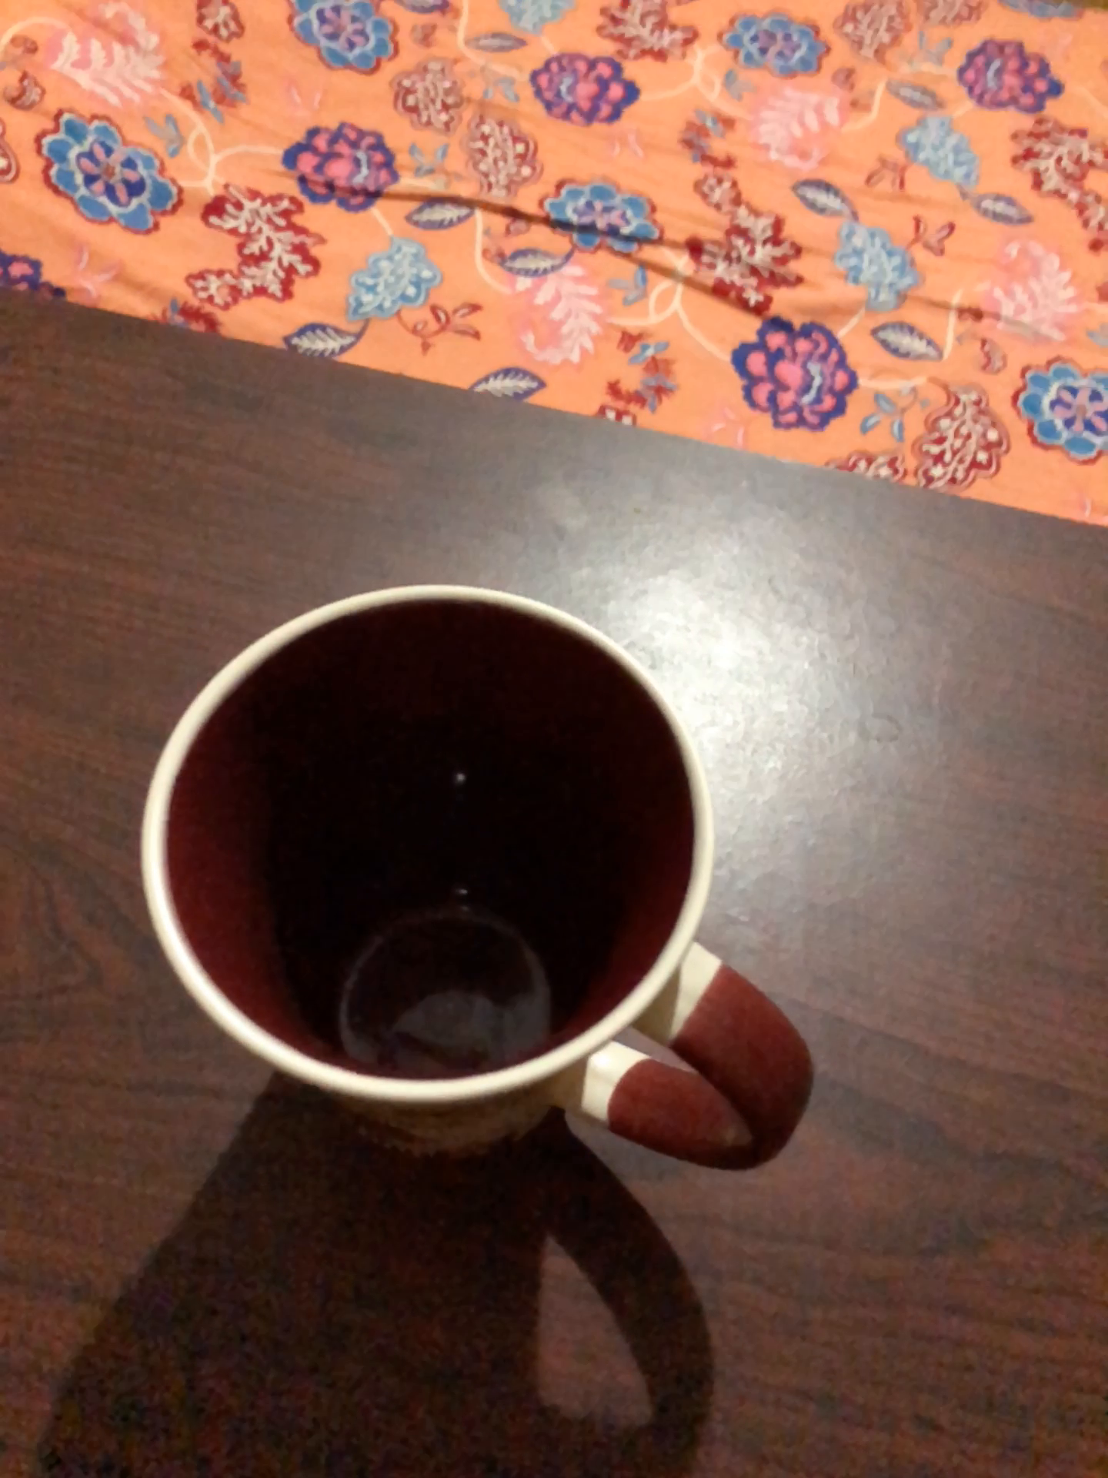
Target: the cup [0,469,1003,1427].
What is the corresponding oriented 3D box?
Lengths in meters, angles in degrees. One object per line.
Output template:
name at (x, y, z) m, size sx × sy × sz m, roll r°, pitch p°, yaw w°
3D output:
cup at (-0.009, 0.041, 0.229) m, size 0.120 × 0.100 × 0.100 m, roll 30°, pitch 61°, yaw 14°
